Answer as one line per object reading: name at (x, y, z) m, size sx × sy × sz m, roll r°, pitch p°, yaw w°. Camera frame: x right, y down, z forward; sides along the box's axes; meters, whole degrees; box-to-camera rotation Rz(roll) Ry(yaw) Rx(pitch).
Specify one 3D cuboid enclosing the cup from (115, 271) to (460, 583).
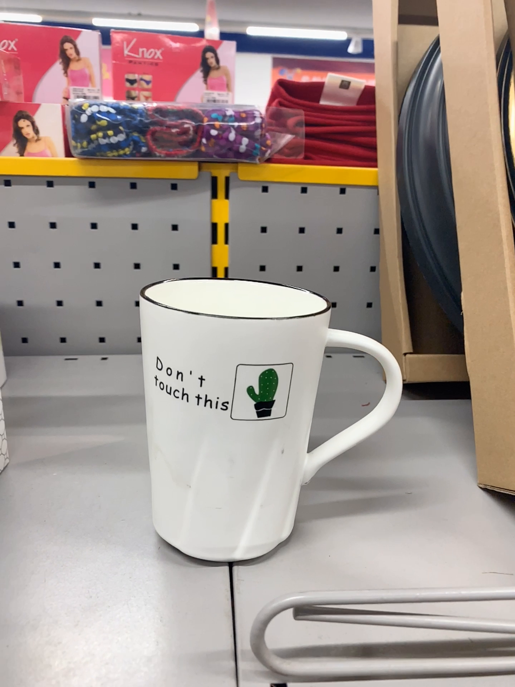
cup at (0.009, 0.034, 0.261) m, size 0.130 × 0.120 × 0.090 m, roll 1°, pitch 18°, yaw -1°
